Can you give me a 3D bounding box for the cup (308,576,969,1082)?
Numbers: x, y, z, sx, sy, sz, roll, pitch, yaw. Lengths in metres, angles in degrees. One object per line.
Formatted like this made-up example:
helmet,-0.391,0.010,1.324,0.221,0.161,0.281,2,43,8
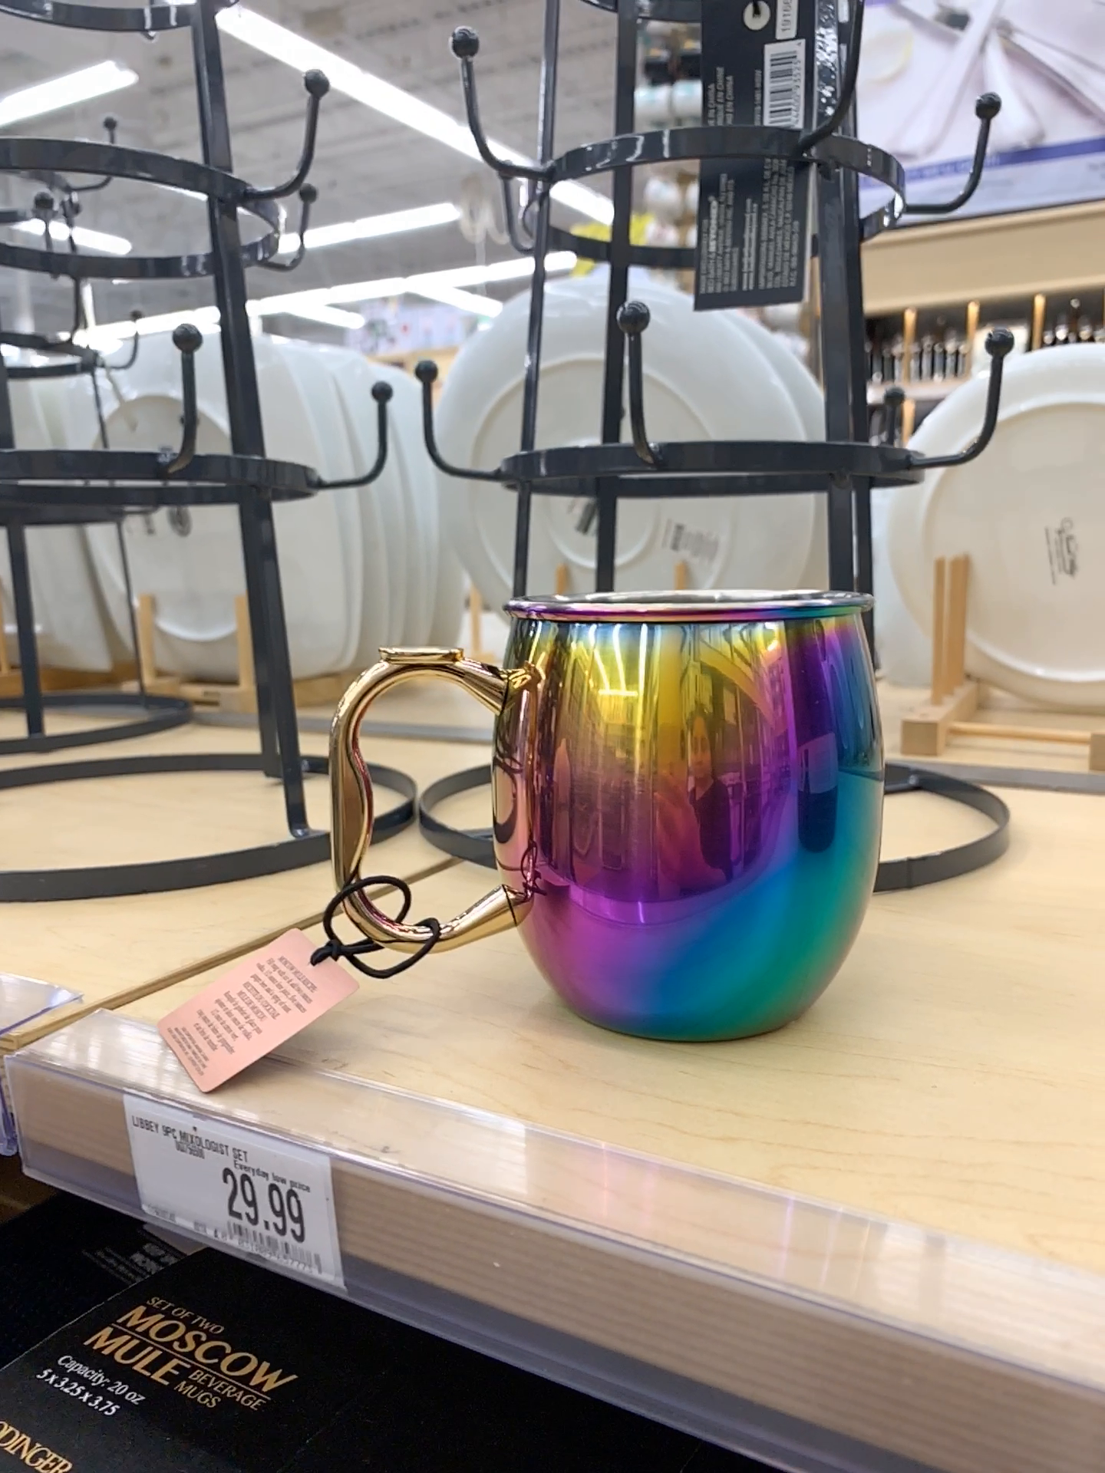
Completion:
cup,0.013,0.011,0.267,0.130,0.089,0.085,-3,10,-11
